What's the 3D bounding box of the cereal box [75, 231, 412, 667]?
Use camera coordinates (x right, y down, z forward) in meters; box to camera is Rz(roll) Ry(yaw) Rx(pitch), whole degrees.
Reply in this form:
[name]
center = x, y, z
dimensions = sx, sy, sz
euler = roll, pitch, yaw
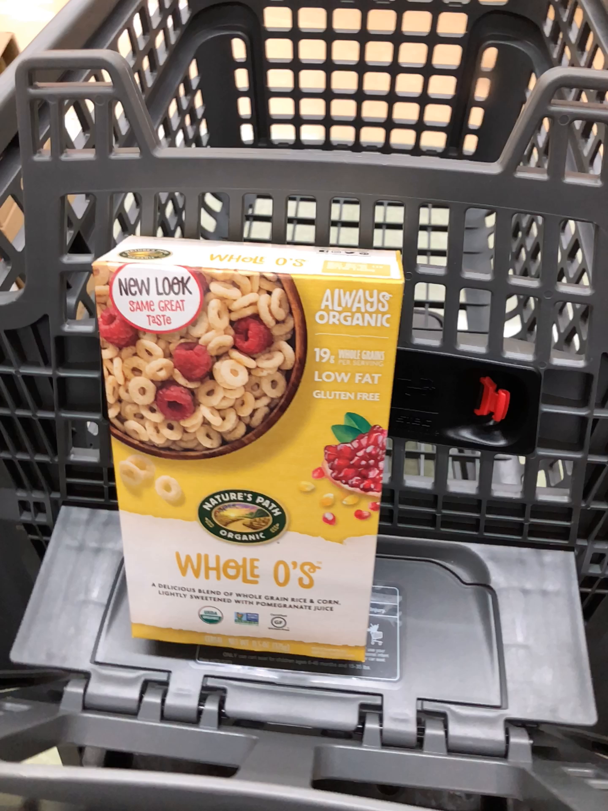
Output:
[cereal box]
center = -0.030, 0.033, 0.398
dimensions = 0.160, 0.250, 0.060
euler = 4, 27, 5
